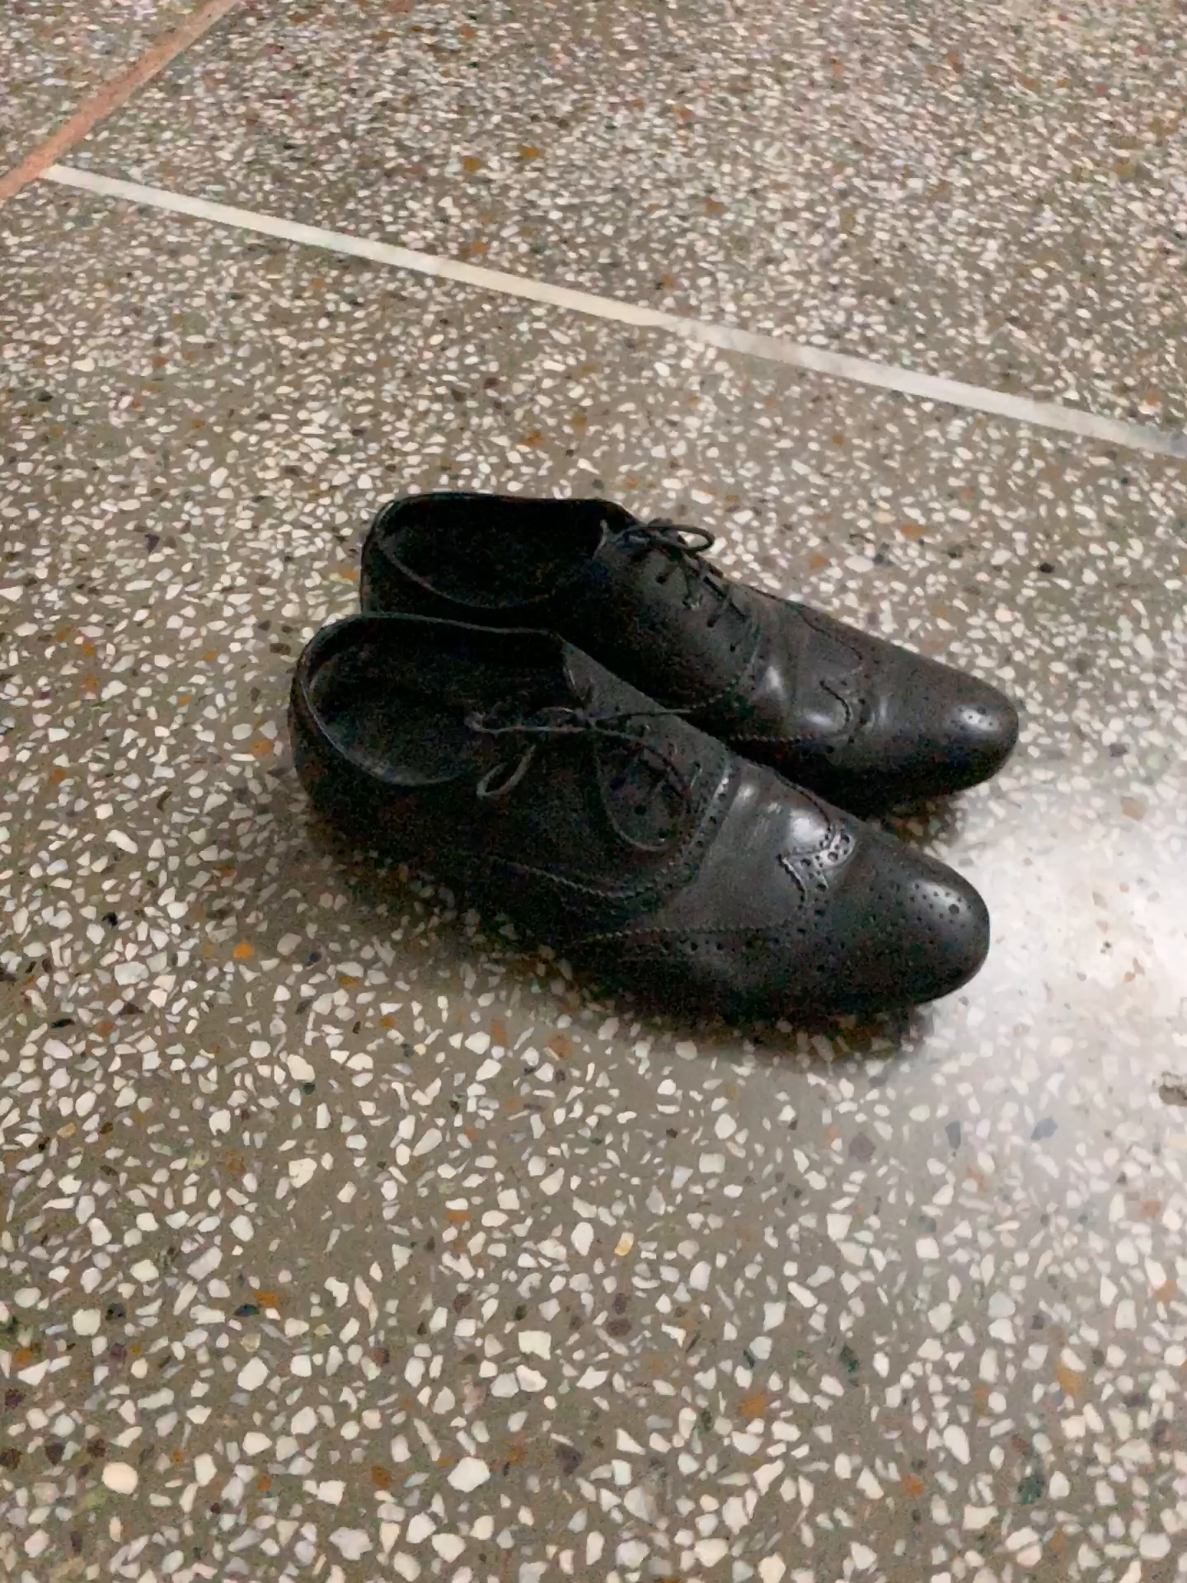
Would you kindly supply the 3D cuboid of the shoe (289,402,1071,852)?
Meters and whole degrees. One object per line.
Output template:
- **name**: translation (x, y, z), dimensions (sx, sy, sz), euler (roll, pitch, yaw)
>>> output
- **shoe**: translation (0.038, -0.076, 0.560), dimensions (0.320, 0.100, 0.100), euler (13, 58, 6)

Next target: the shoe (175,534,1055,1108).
- **shoe**: translation (0.005, 0.009, 0.503), dimensions (0.320, 0.100, 0.100), euler (20, 58, 10)
